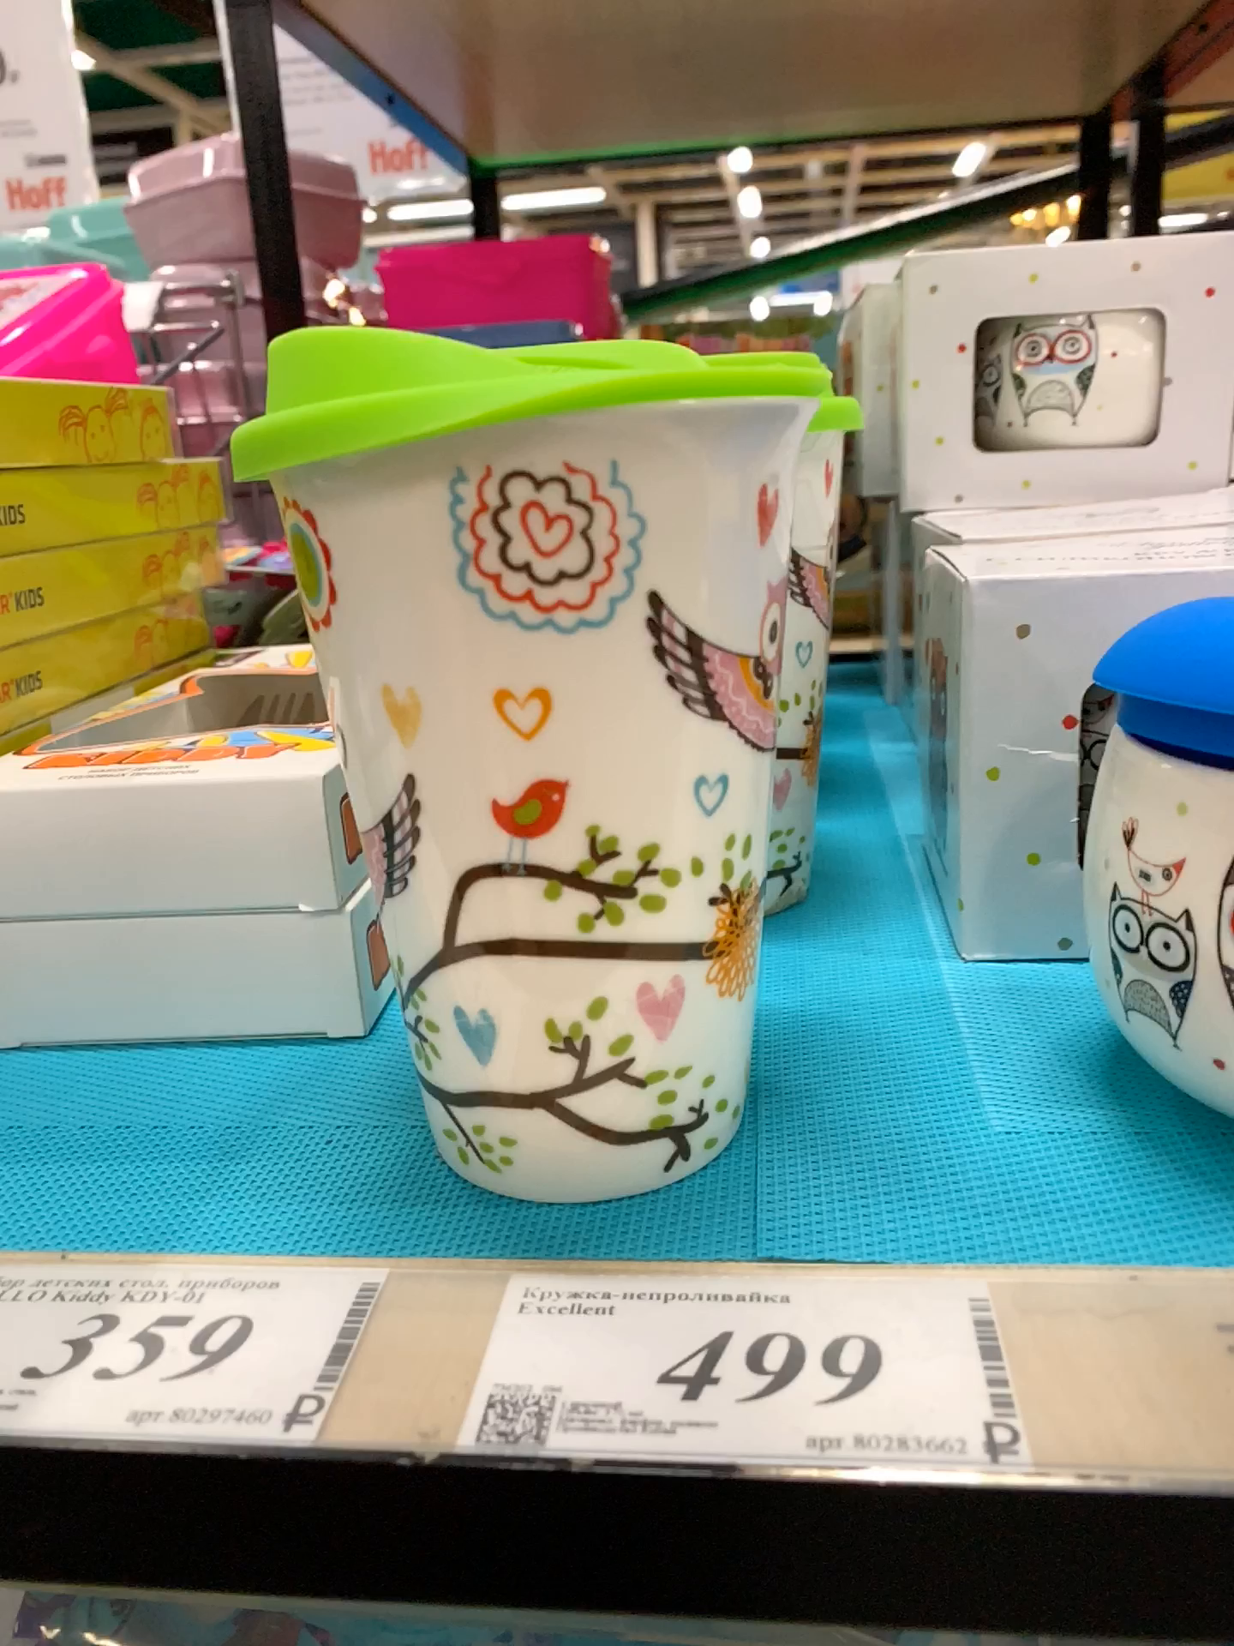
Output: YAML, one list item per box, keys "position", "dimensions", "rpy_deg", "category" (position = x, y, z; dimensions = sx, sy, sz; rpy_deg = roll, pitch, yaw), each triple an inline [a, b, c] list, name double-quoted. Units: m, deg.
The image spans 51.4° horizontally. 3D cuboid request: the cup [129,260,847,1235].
- position: [-0.011, -0.014, 0.220]
  dimensions: [0.090, 0.136, 0.084]
  rpy_deg: [-3, 15, 1]
  category: "cup"
